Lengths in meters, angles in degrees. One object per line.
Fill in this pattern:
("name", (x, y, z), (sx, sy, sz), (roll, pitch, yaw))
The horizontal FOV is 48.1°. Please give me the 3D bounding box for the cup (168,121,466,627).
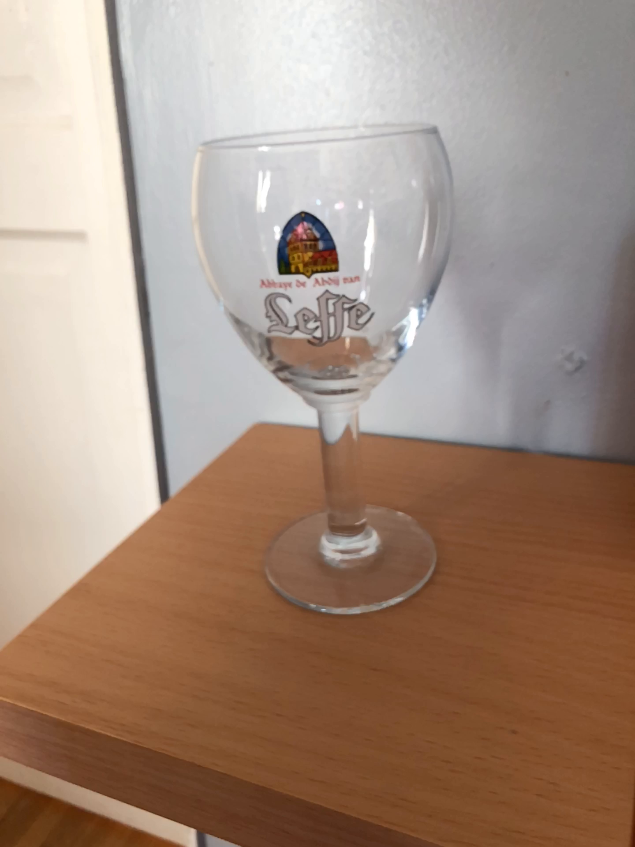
("cup", (0.009, -0.027, 0.304), (0.095, 0.185, 0.101), (-1, 21, 0))
